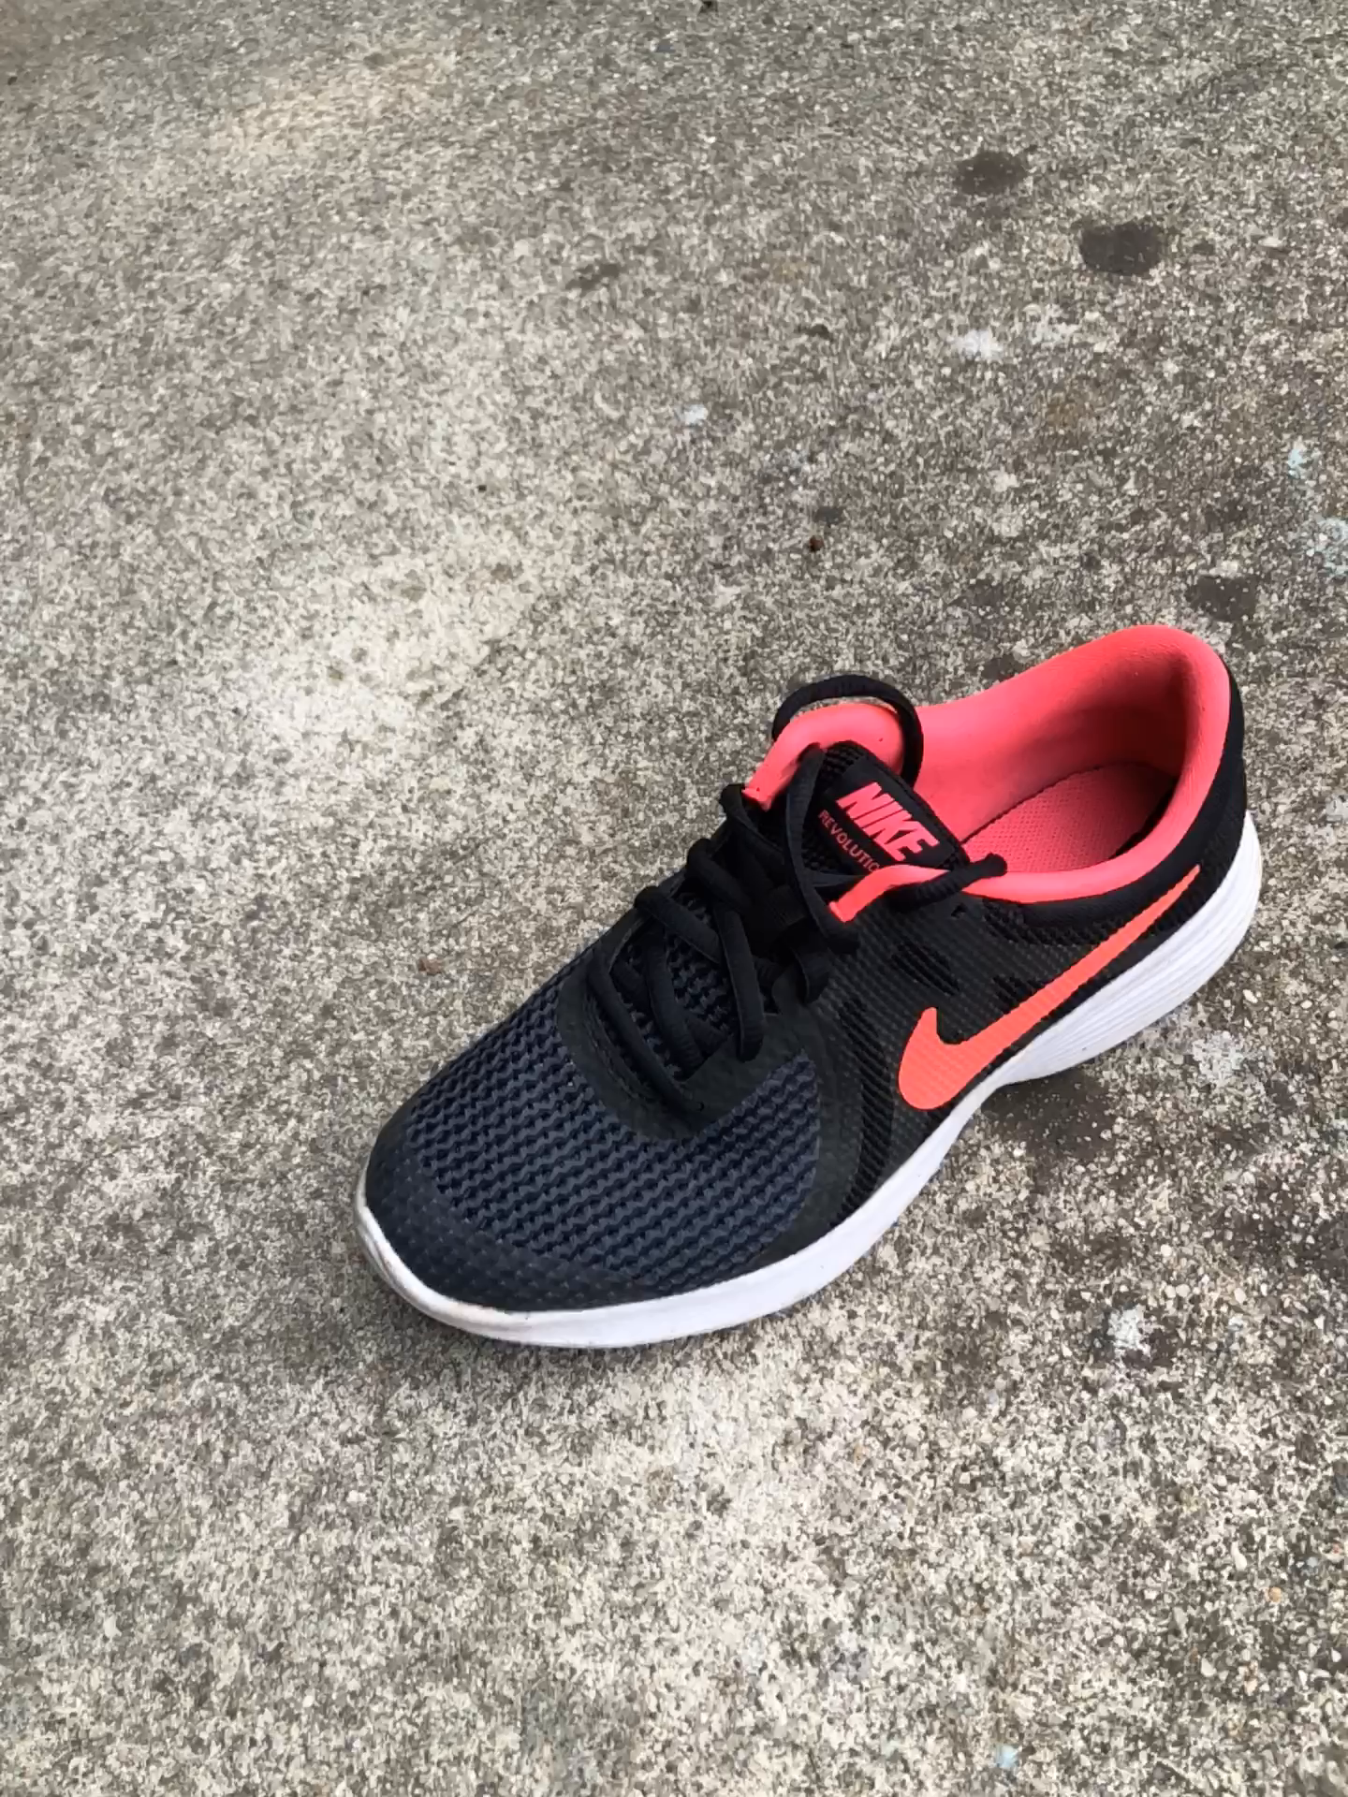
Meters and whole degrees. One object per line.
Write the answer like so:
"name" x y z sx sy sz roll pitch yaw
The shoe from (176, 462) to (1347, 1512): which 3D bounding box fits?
"shoe" 0.039 0.017 0.369 0.273 0.100 0.110 -29 56 -10
